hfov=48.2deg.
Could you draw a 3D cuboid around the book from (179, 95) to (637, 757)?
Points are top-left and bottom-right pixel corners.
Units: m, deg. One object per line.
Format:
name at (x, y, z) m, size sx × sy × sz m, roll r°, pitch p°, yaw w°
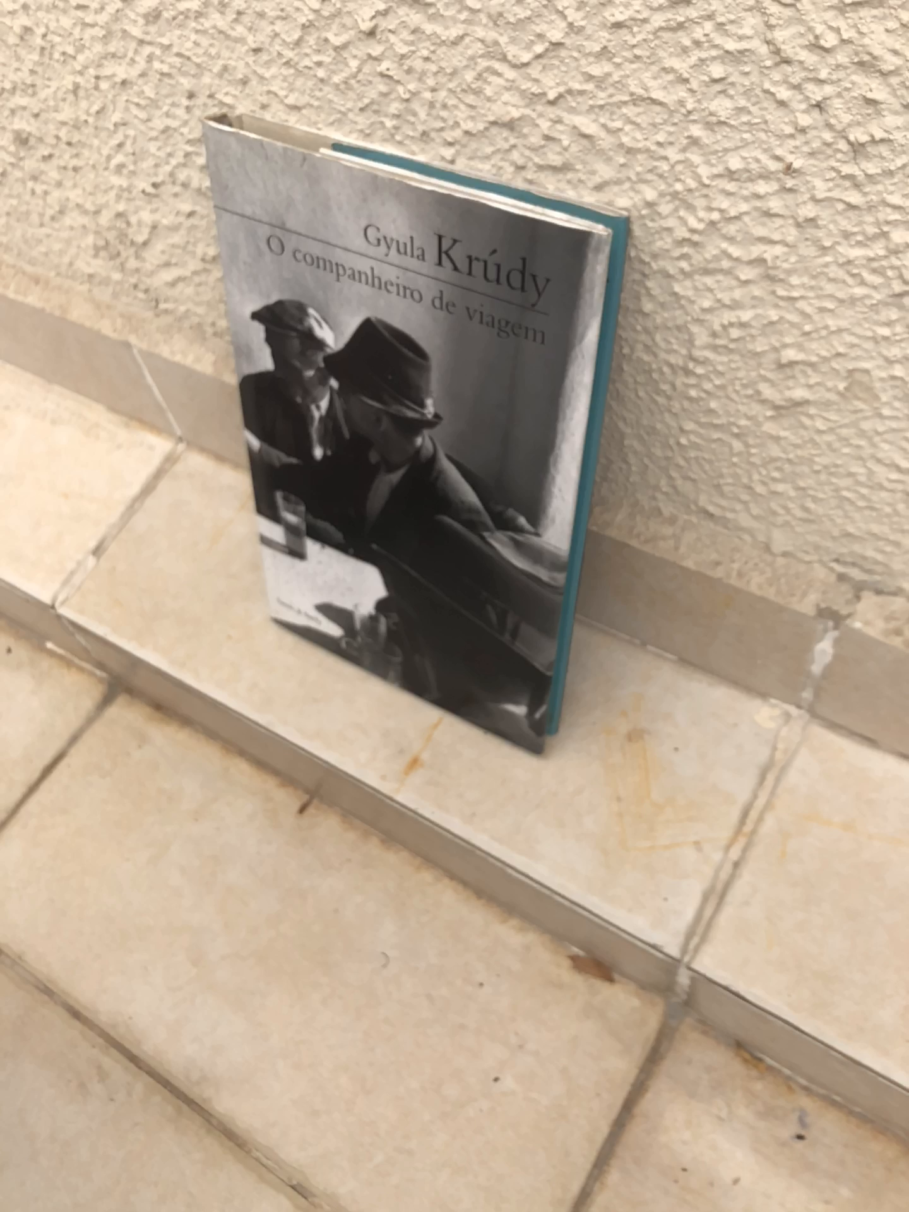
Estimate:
book at (-0.020, -0.048, 0.346) m, size 0.137 × 0.205 × 0.019 m, roll 25°, pitch 48°, yaw 21°
